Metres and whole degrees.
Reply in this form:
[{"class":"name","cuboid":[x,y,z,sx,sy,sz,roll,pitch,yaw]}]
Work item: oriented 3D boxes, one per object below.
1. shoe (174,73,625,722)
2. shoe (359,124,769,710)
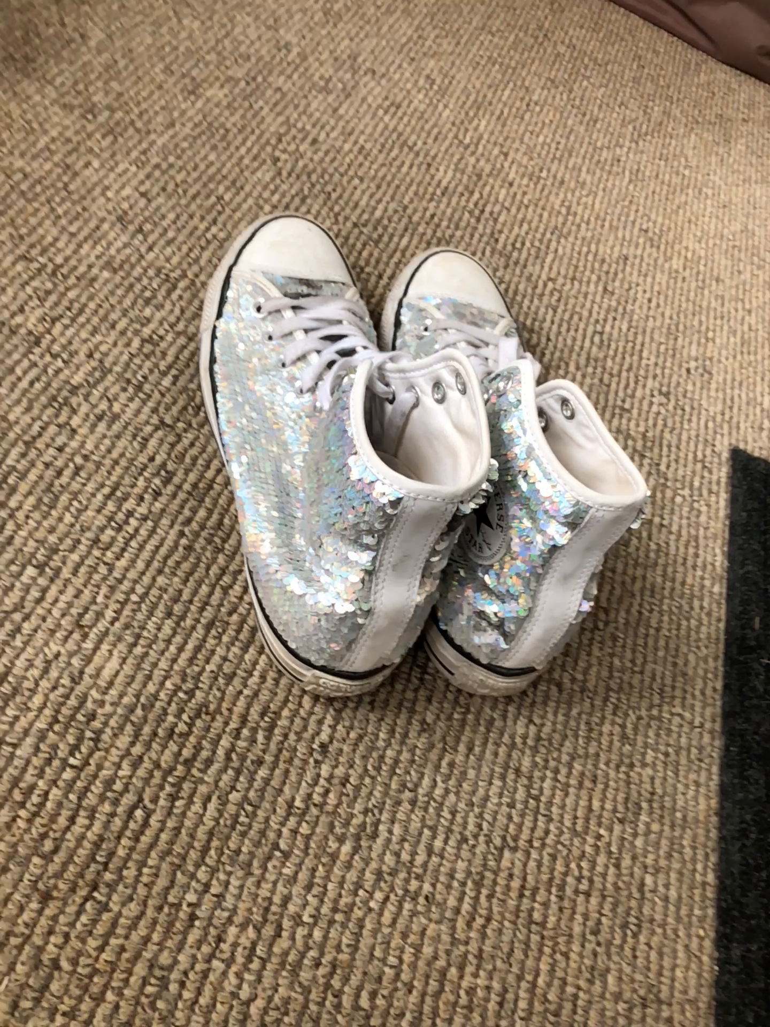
[{"class":"shoe","cuboid":[-0.017,-0.057,0.410,0.112,0.137,0.264,-1,58,-26]},{"class":"shoe","cuboid":[0.072,-0.050,0.439,0.112,0.127,0.265,7,55,-21]}]
